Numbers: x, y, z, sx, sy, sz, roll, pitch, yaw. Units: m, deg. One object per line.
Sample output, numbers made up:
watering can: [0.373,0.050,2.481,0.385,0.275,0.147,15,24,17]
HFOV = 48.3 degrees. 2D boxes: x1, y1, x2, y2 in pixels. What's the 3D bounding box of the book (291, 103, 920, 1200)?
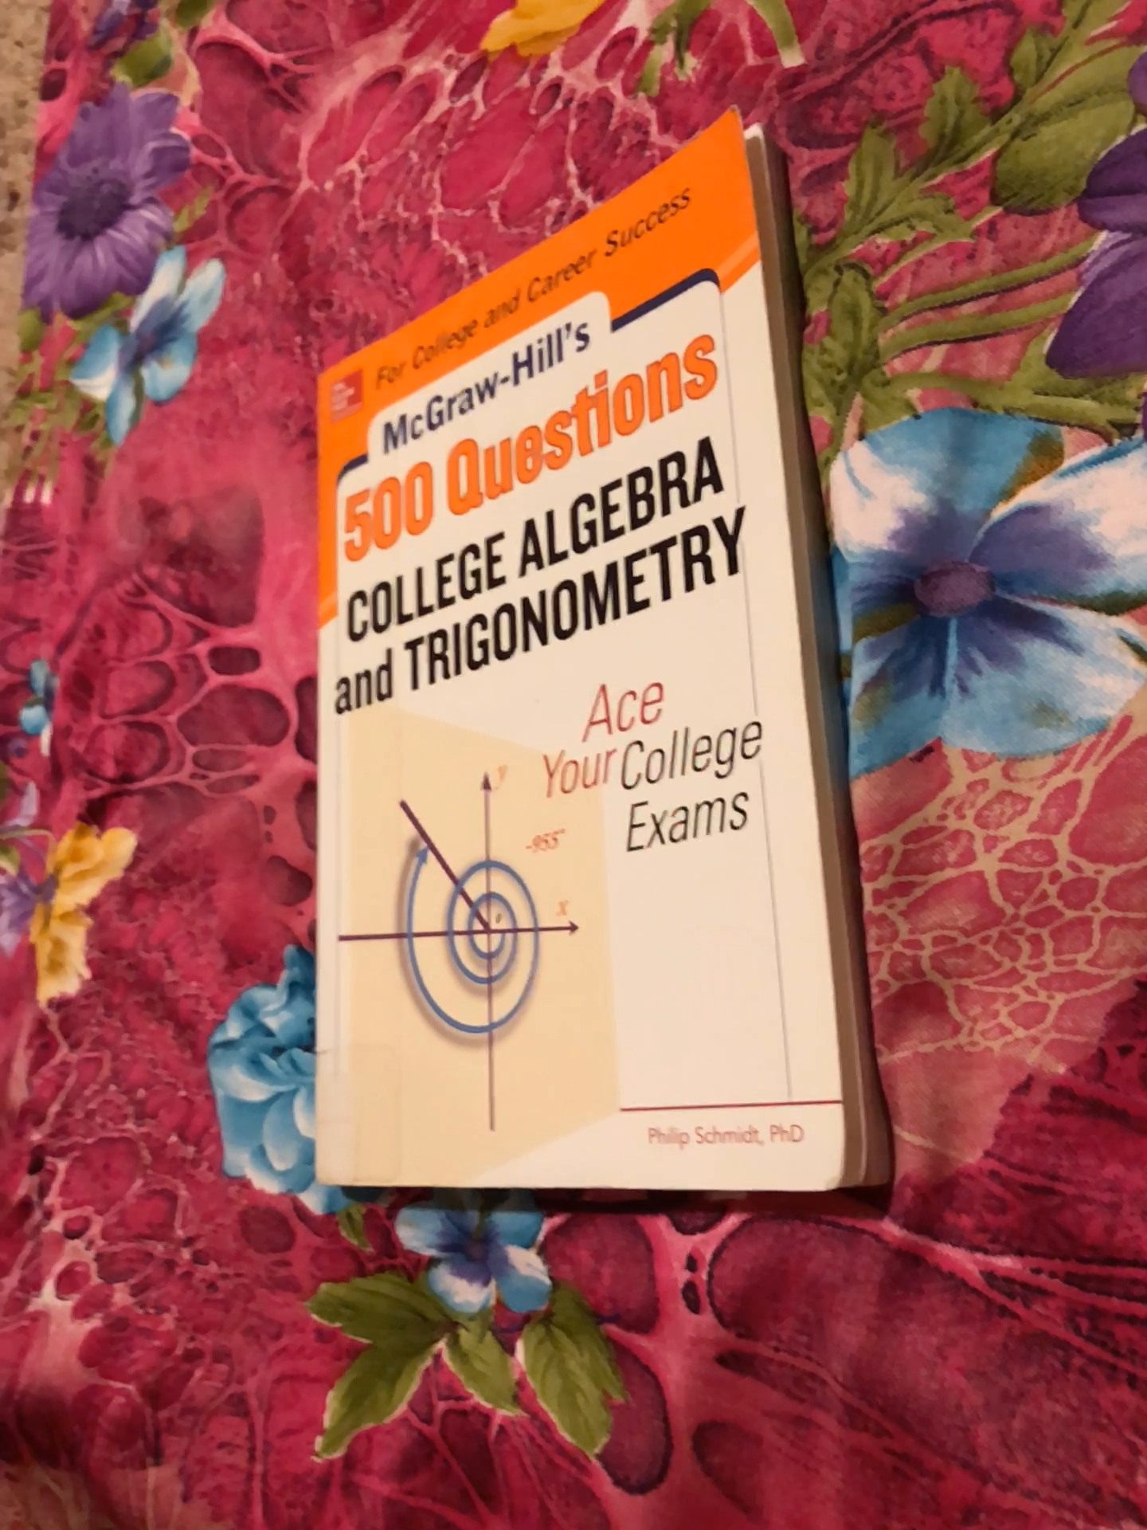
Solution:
book: [-0.008,-0.017,0.301,0.157,0.022,0.220,-13,73,38]
